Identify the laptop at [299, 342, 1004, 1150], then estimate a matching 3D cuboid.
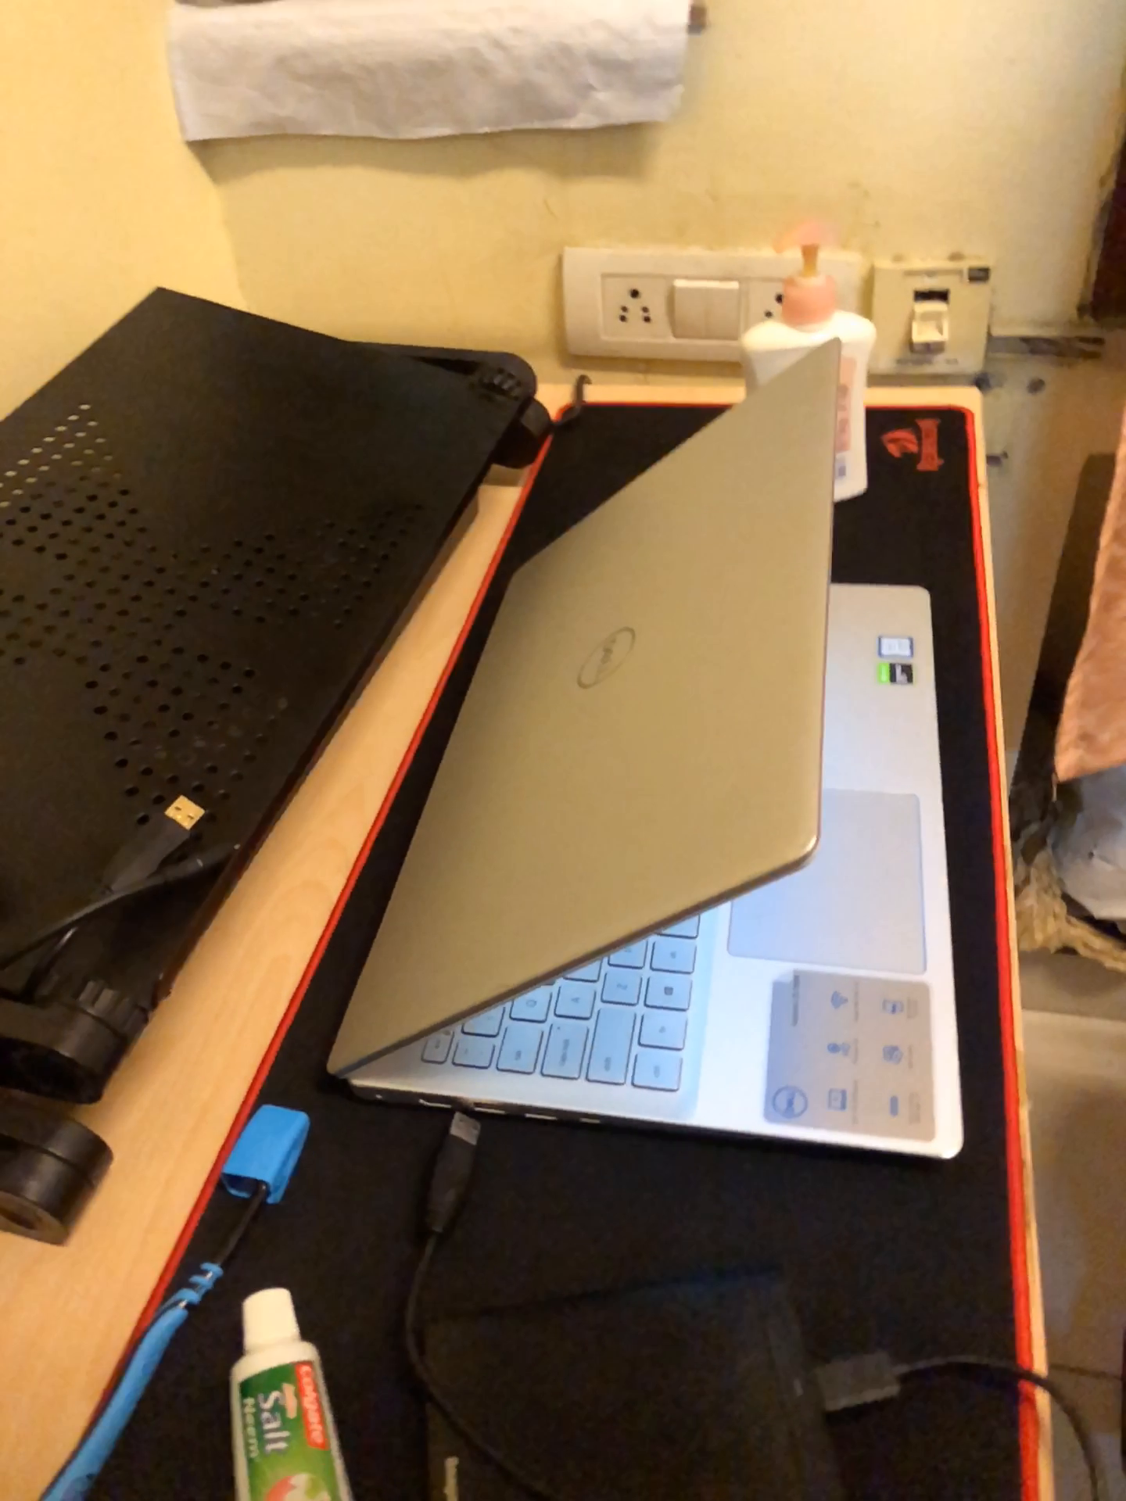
[{"bbox_3d":[0.060,-0.034,0.554,0.218,0.139,0.353,5,43,9],"label":"laptop"}]
